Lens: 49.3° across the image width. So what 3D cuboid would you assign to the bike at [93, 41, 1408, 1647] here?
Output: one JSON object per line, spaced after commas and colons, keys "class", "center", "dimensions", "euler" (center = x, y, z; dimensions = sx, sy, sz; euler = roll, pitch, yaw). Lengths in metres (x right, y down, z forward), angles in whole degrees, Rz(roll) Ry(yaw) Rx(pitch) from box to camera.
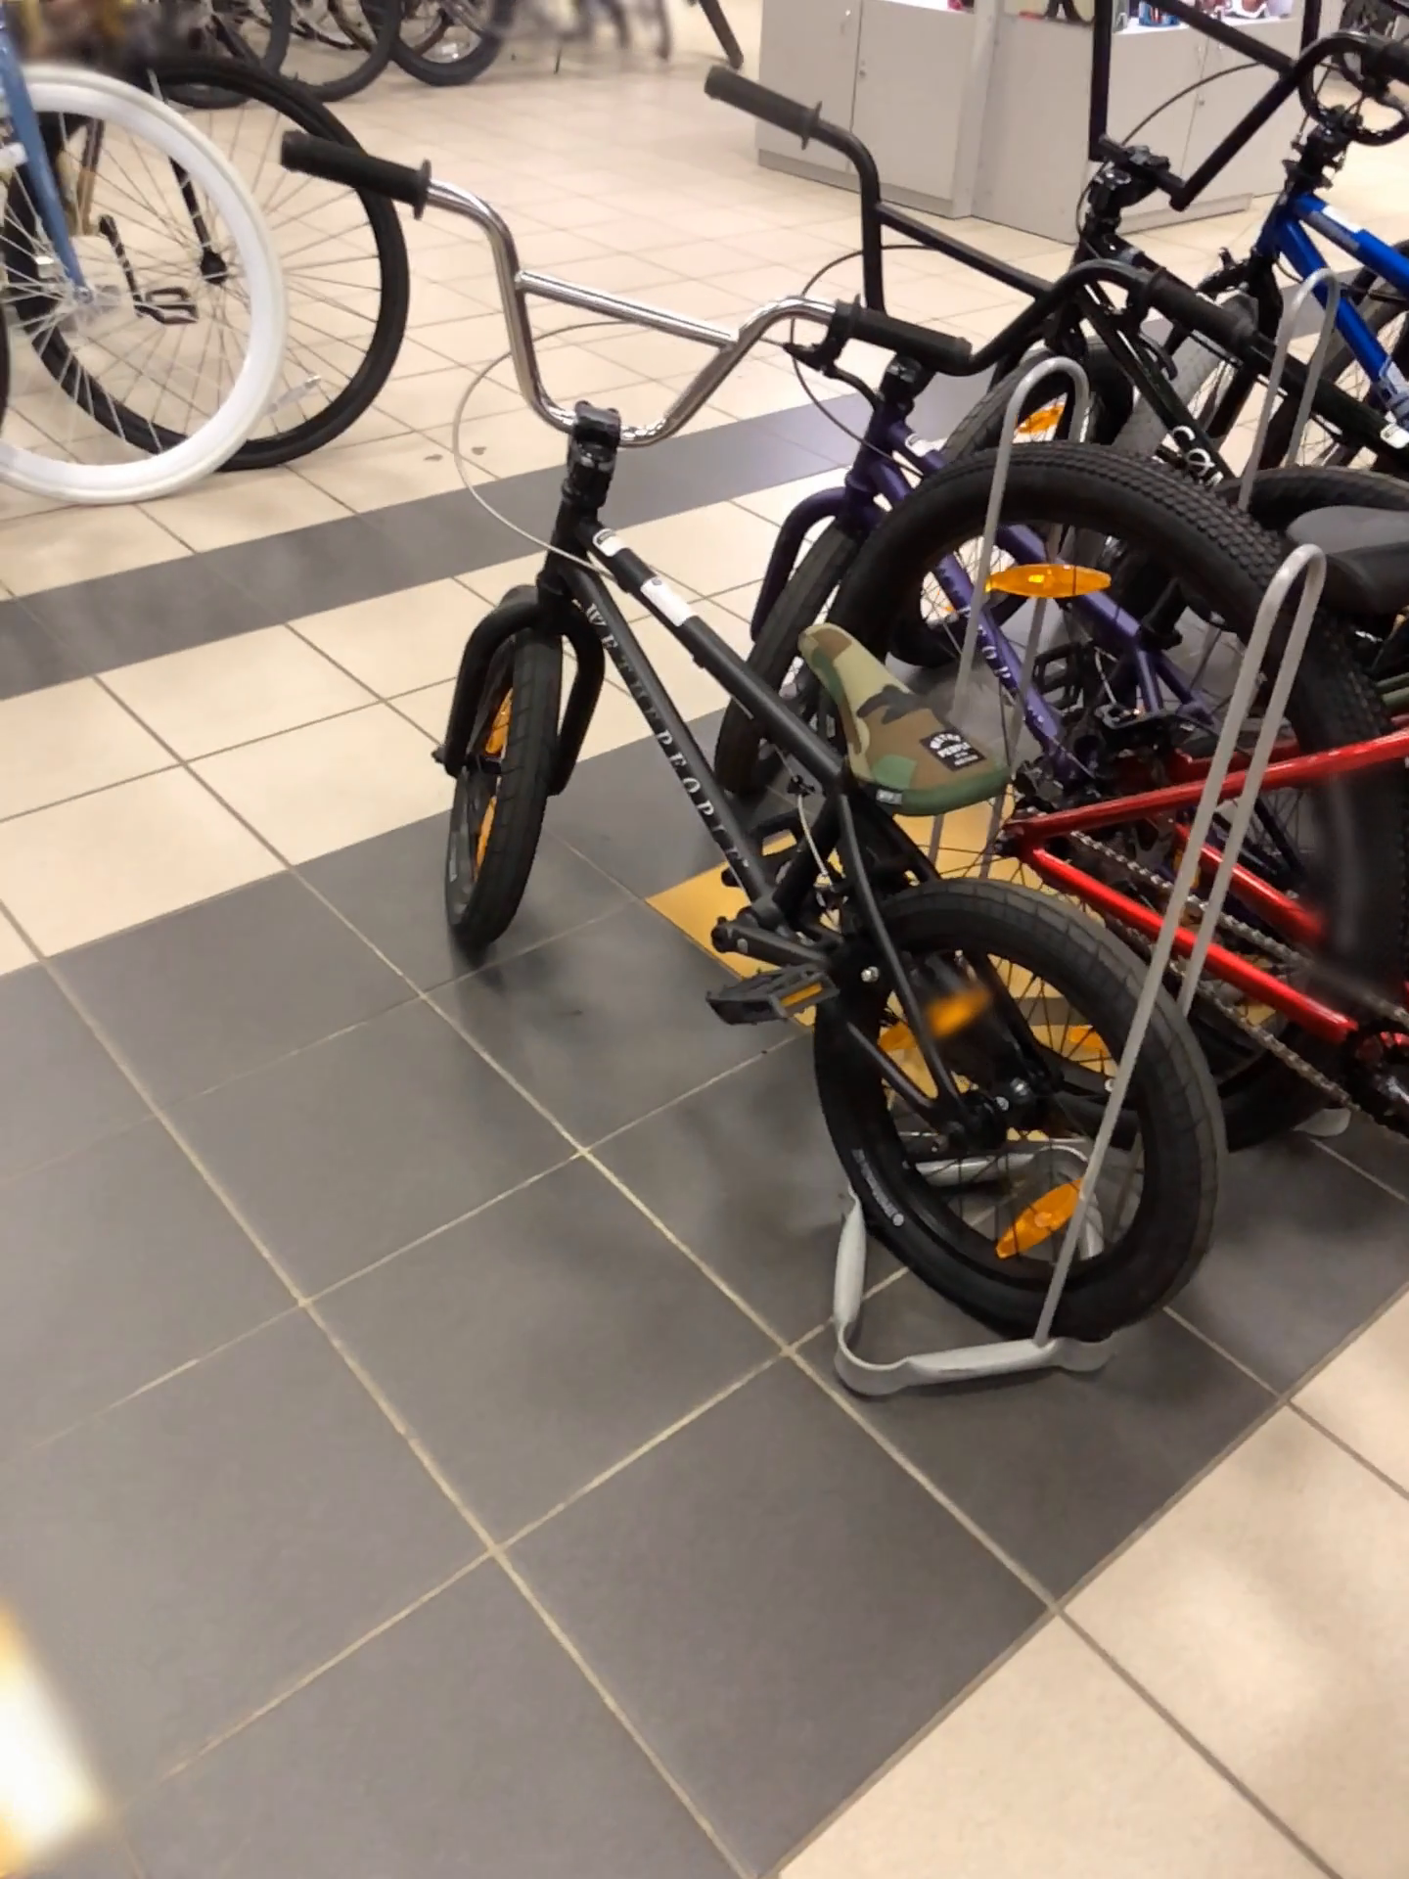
{"class": "bike", "center": [0.052, -0.222, 1.353], "dimensions": [0.677, 0.809, 1.075], "euler": [-21, 44, -30]}
